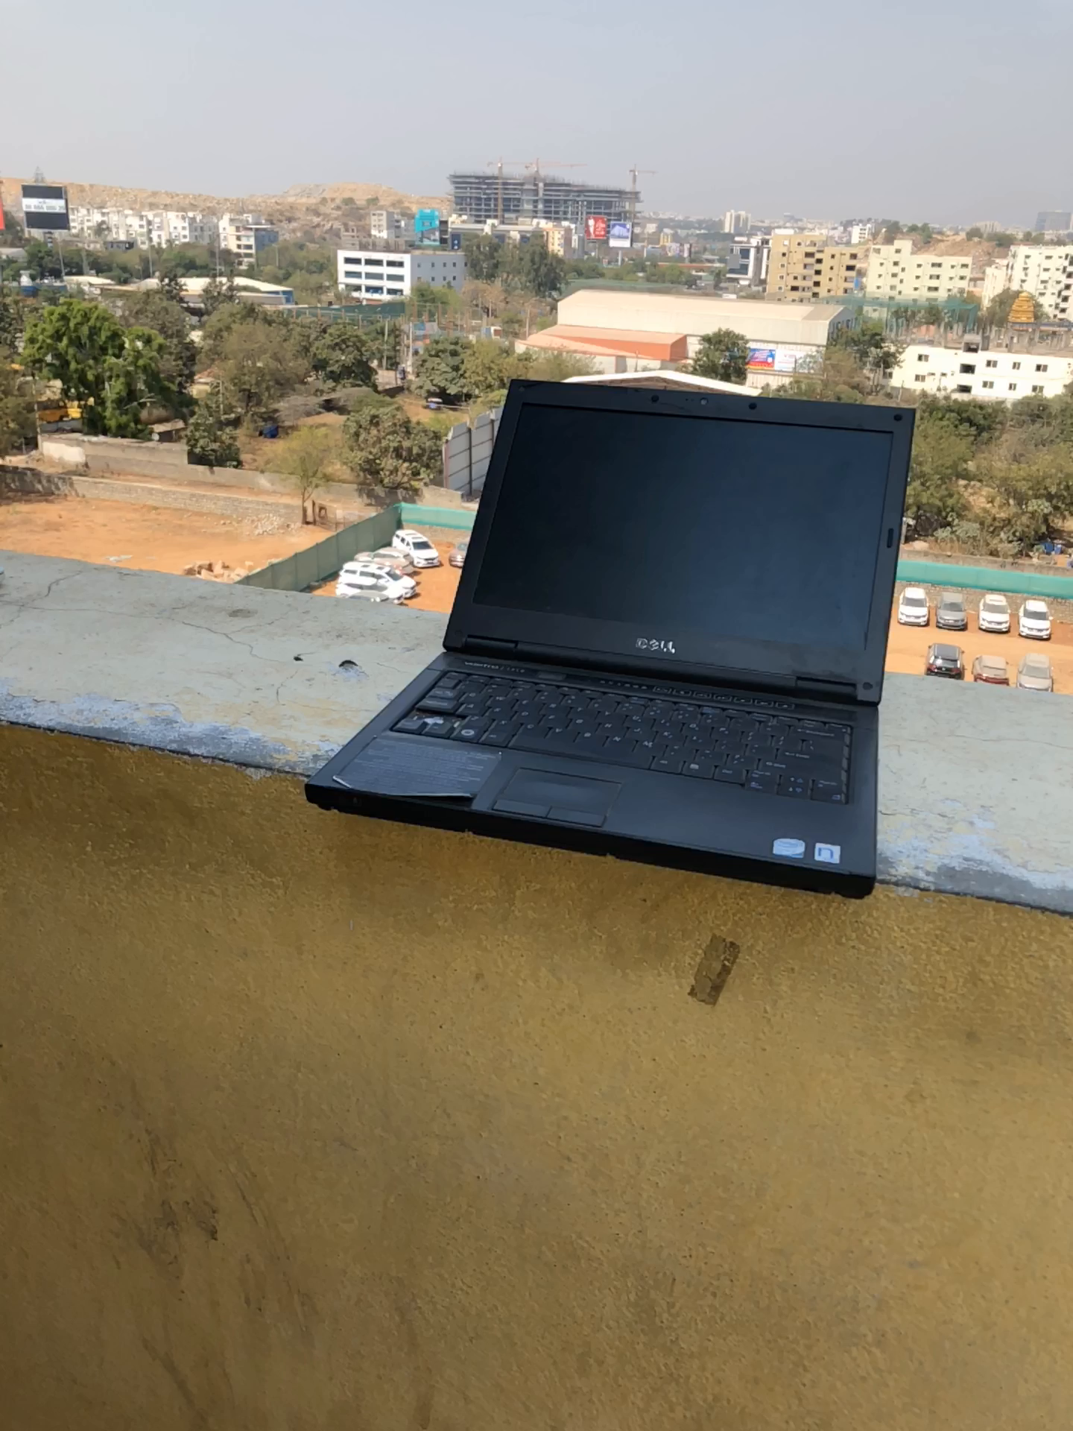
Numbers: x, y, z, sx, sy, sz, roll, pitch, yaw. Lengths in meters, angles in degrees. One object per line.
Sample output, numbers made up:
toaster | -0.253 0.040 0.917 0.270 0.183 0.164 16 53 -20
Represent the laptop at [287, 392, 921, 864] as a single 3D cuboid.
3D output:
laptop | 0.073 -0.090 0.749 0.301 0.178 0.377 7 22 15
